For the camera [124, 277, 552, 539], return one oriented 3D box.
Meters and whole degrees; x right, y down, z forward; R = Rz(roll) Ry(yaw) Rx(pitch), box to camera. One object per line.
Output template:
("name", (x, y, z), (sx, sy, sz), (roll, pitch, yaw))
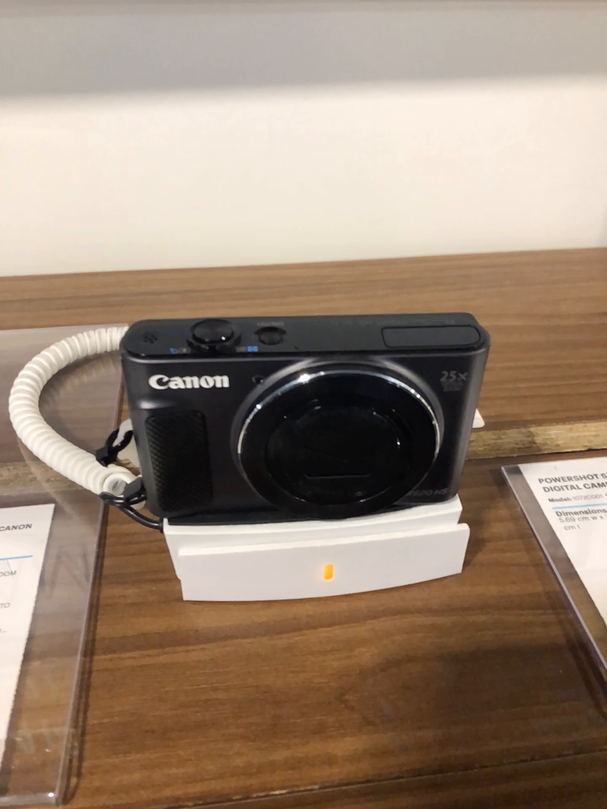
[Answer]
("camera", (0.007, 0.001, 0.185), (0.100, 0.060, 0.030), (-3, 35, -6))
